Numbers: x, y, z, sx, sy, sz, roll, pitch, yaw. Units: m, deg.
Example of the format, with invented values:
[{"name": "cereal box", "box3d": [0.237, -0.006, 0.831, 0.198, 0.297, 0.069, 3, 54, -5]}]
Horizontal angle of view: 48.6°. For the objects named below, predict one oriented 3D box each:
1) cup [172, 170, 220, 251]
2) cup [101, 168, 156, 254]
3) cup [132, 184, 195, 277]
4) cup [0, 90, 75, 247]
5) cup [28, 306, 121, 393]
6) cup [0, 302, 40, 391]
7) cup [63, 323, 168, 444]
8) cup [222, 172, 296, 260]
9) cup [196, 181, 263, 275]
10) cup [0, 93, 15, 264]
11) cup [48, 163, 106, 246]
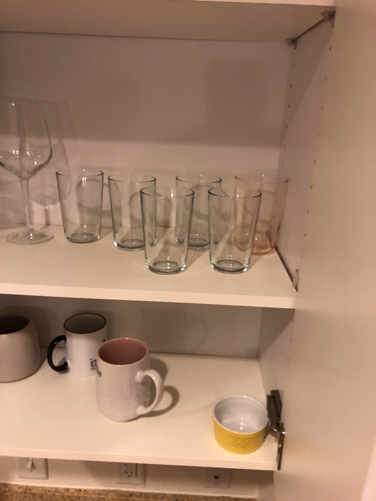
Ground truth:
[{"name": "cup", "box3d": [0.011, -0.070, 0.710, 0.070, 0.119, 0.080, 1, 19, -4]}, {"name": "cup", "box3d": [-0.095, -0.067, 0.683, 0.080, 0.119, 0.090, 1, 19, -4]}, {"name": "cup", "box3d": [-0.036, -0.031, 0.593, 0.080, 0.109, 0.090, 1, 19, -4]}, {"name": "cup", "box3d": [-0.273, -0.145, 0.747, 0.110, 0.259, 0.090, 1, 18, -4]}, {"name": "cup", "box3d": [-0.213, 0.182, 0.795, 0.090, 0.090, 0.140, 18, 25, 39]}, {"name": "cup", "box3d": [-0.347, 0.175, 0.789, 0.110, 0.090, 0.141, -5, 20, -21]}, {"name": "cup", "box3d": [-0.116, 0.205, 0.668, 0.140, 0.109, 0.090, 16, 23, 34]}, {"name": "cup", "box3d": [0.110, -0.060, 0.681, 0.090, 0.119, 0.100, 2, 19, -2]}, {"name": "cup", "box3d": [0.057, -0.035, 0.616, 0.080, 0.119, 0.080, 2, 19, -1]}, {"name": "cup", "box3d": [-0.356, -0.112, 0.656, 0.110, 0.249, 0.090, 1, 18, -4]}, {"name": "cup", "box3d": [-0.194, -0.084, 0.746, 0.080, 0.129, 0.090, 1, 19, -4]}]
